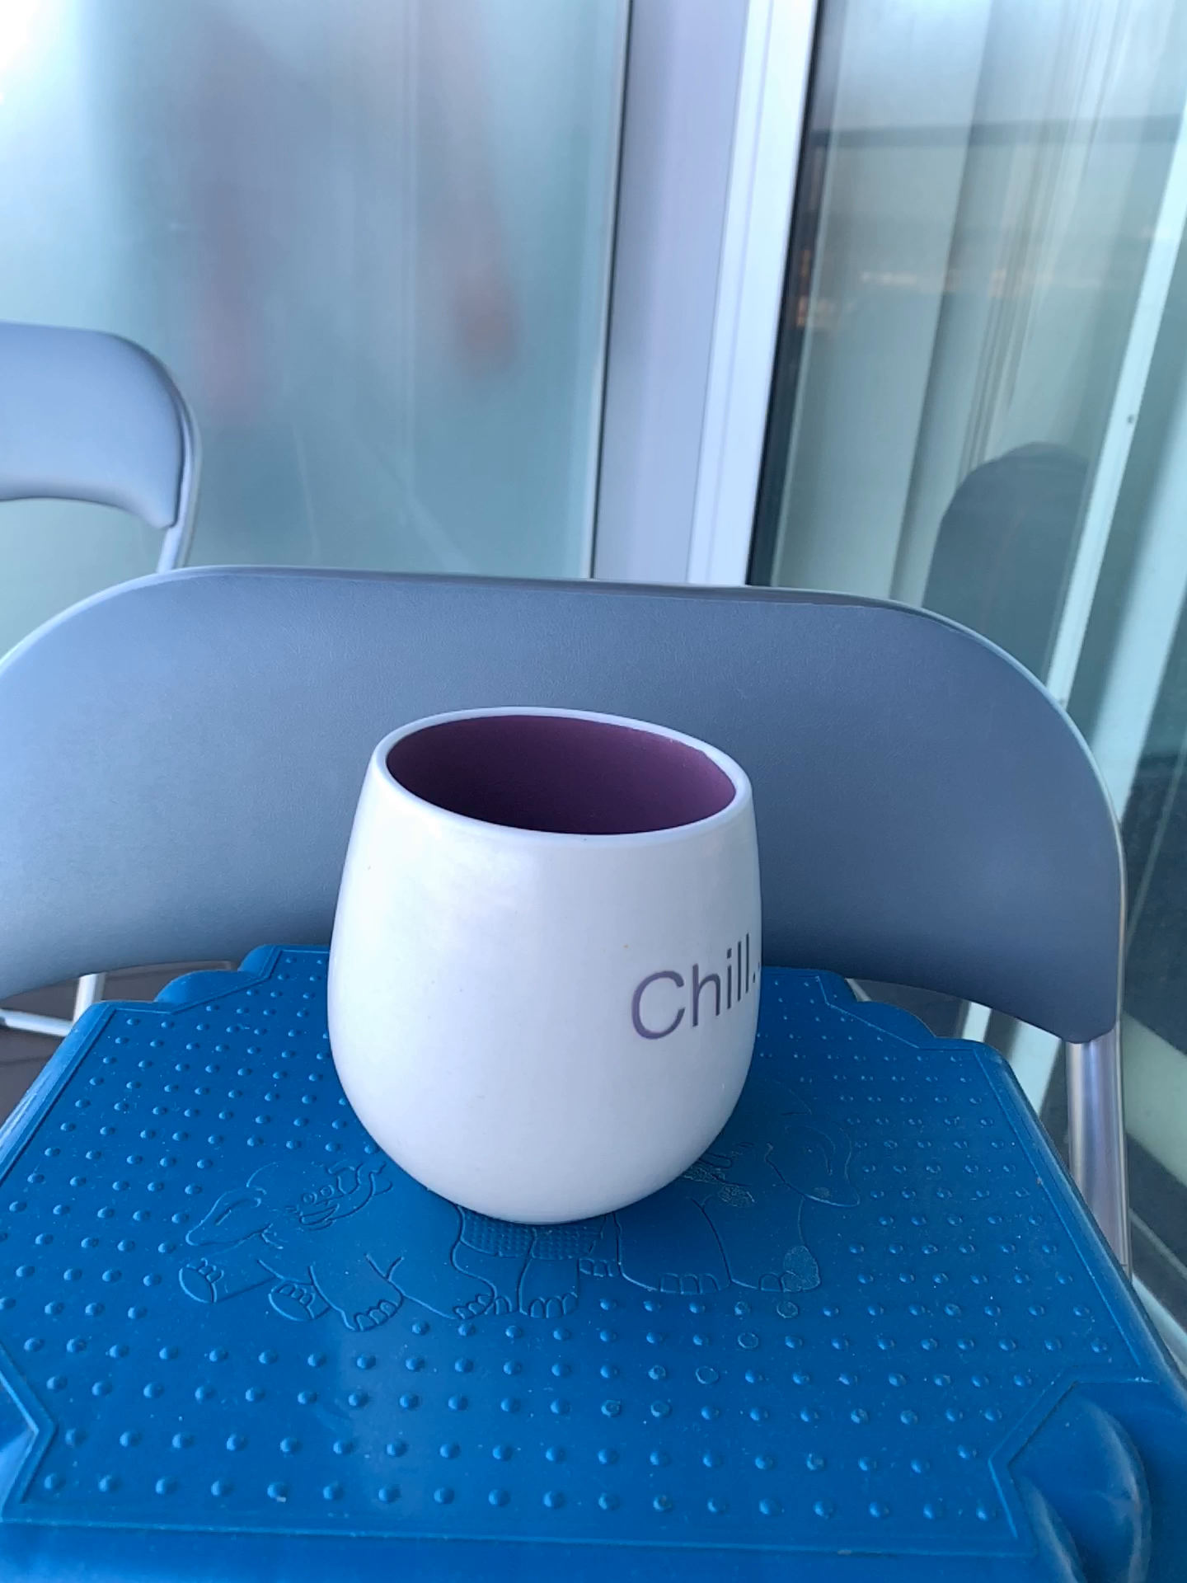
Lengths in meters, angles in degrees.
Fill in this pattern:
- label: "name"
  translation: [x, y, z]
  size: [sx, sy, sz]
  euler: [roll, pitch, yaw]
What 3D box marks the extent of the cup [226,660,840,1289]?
- label: "cup"
  translation: [-0.013, 0.033, 0.308]
  size: [0.105, 0.090, 0.111]
  euler: [5, 22, -2]
